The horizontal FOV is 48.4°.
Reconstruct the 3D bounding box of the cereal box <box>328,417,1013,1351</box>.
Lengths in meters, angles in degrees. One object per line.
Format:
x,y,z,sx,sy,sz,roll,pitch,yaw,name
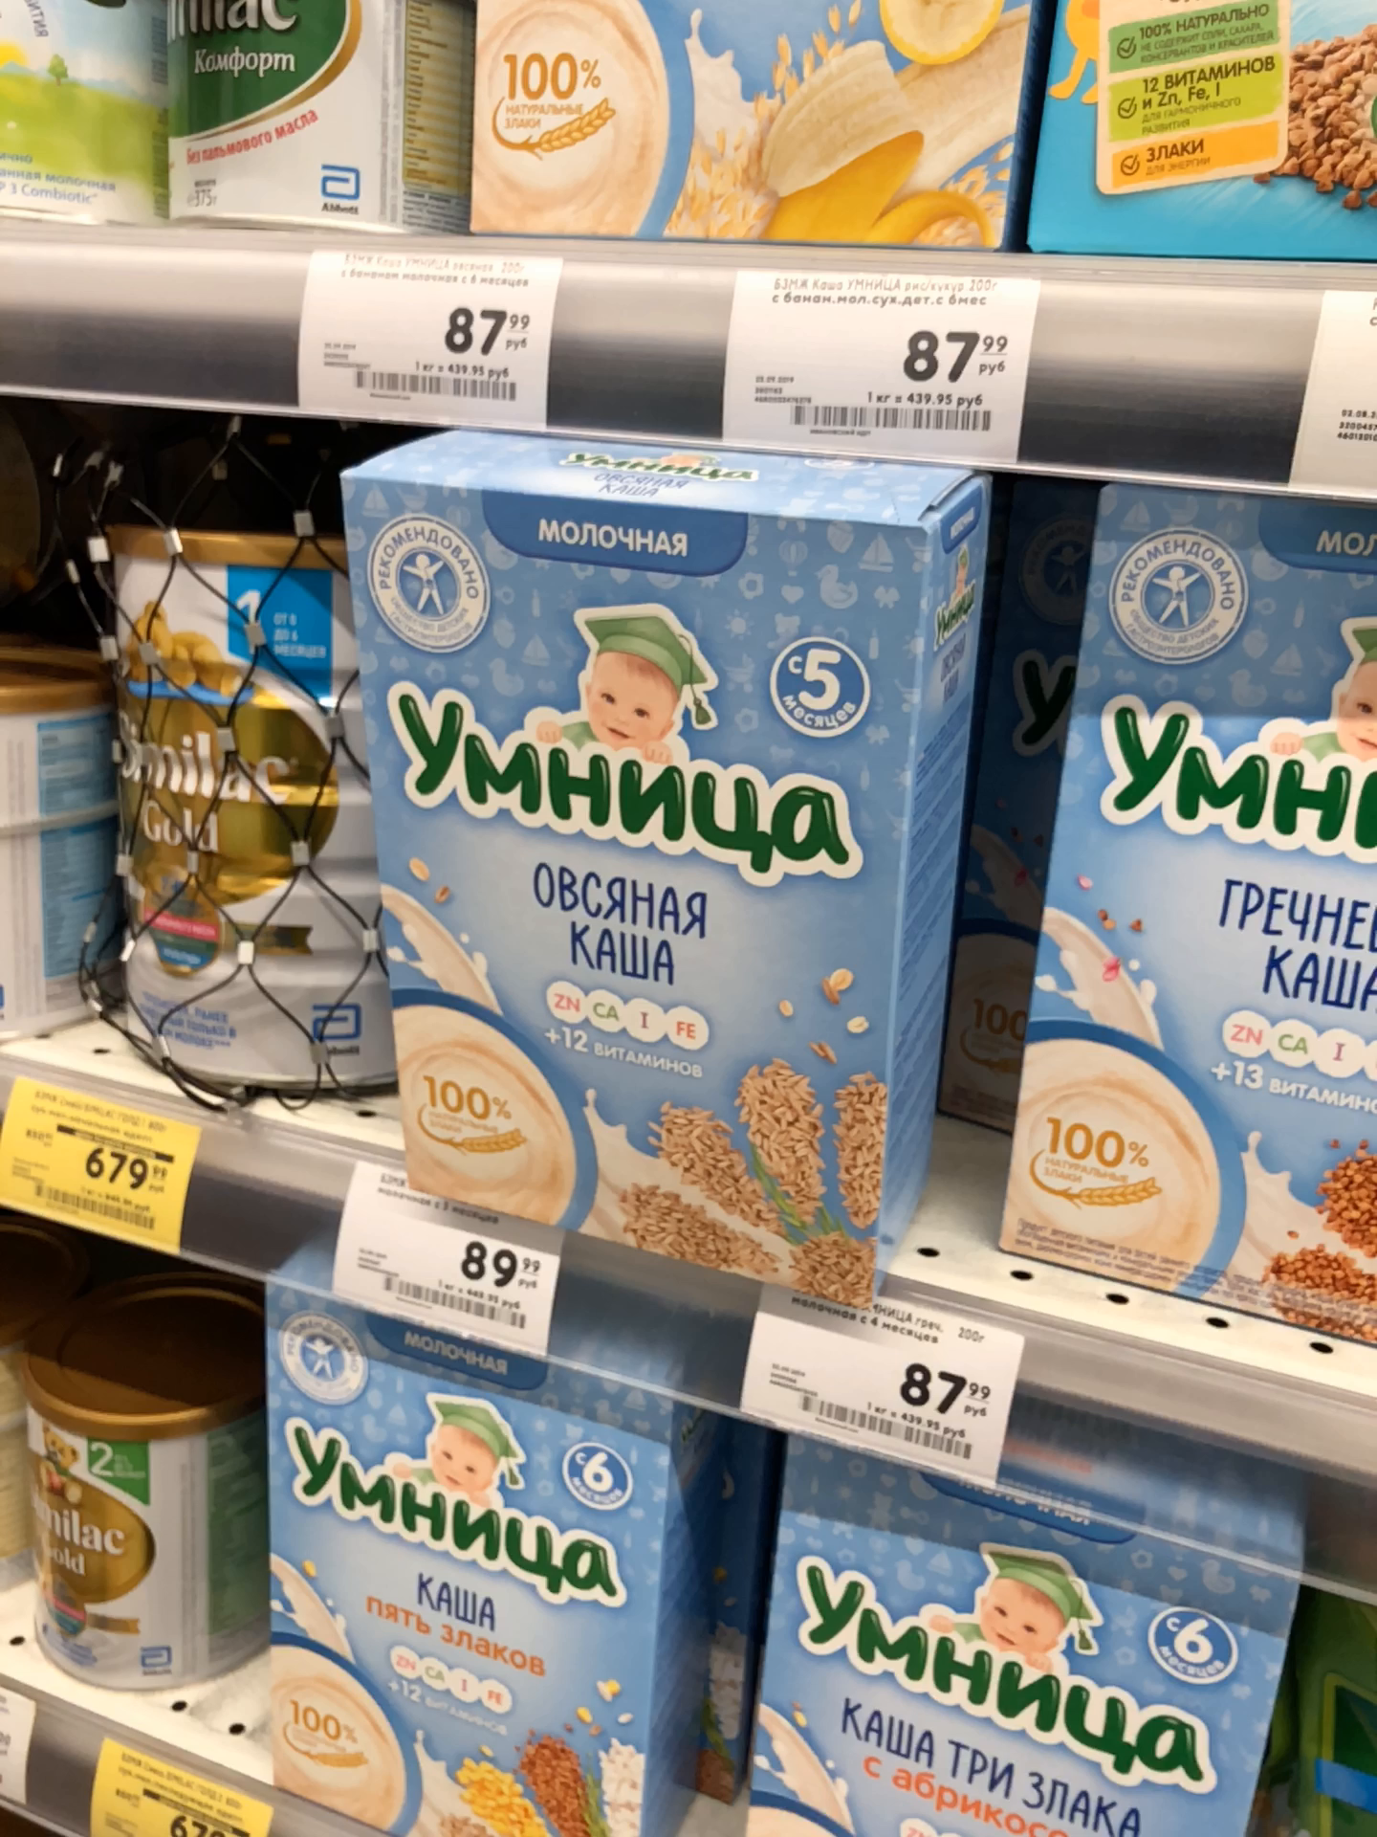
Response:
-0.003,-0.009,0.388,0.140,0.209,0.060,10,29,20,cereal box
